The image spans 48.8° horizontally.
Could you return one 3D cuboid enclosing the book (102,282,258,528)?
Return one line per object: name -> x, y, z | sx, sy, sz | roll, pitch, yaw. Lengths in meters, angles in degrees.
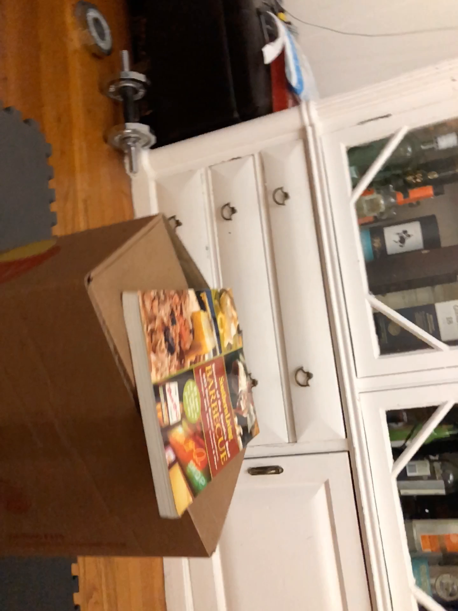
book -> -0.037, 0.083, 0.588 | 0.291, 0.020, 0.220 | -7, 87, -70
